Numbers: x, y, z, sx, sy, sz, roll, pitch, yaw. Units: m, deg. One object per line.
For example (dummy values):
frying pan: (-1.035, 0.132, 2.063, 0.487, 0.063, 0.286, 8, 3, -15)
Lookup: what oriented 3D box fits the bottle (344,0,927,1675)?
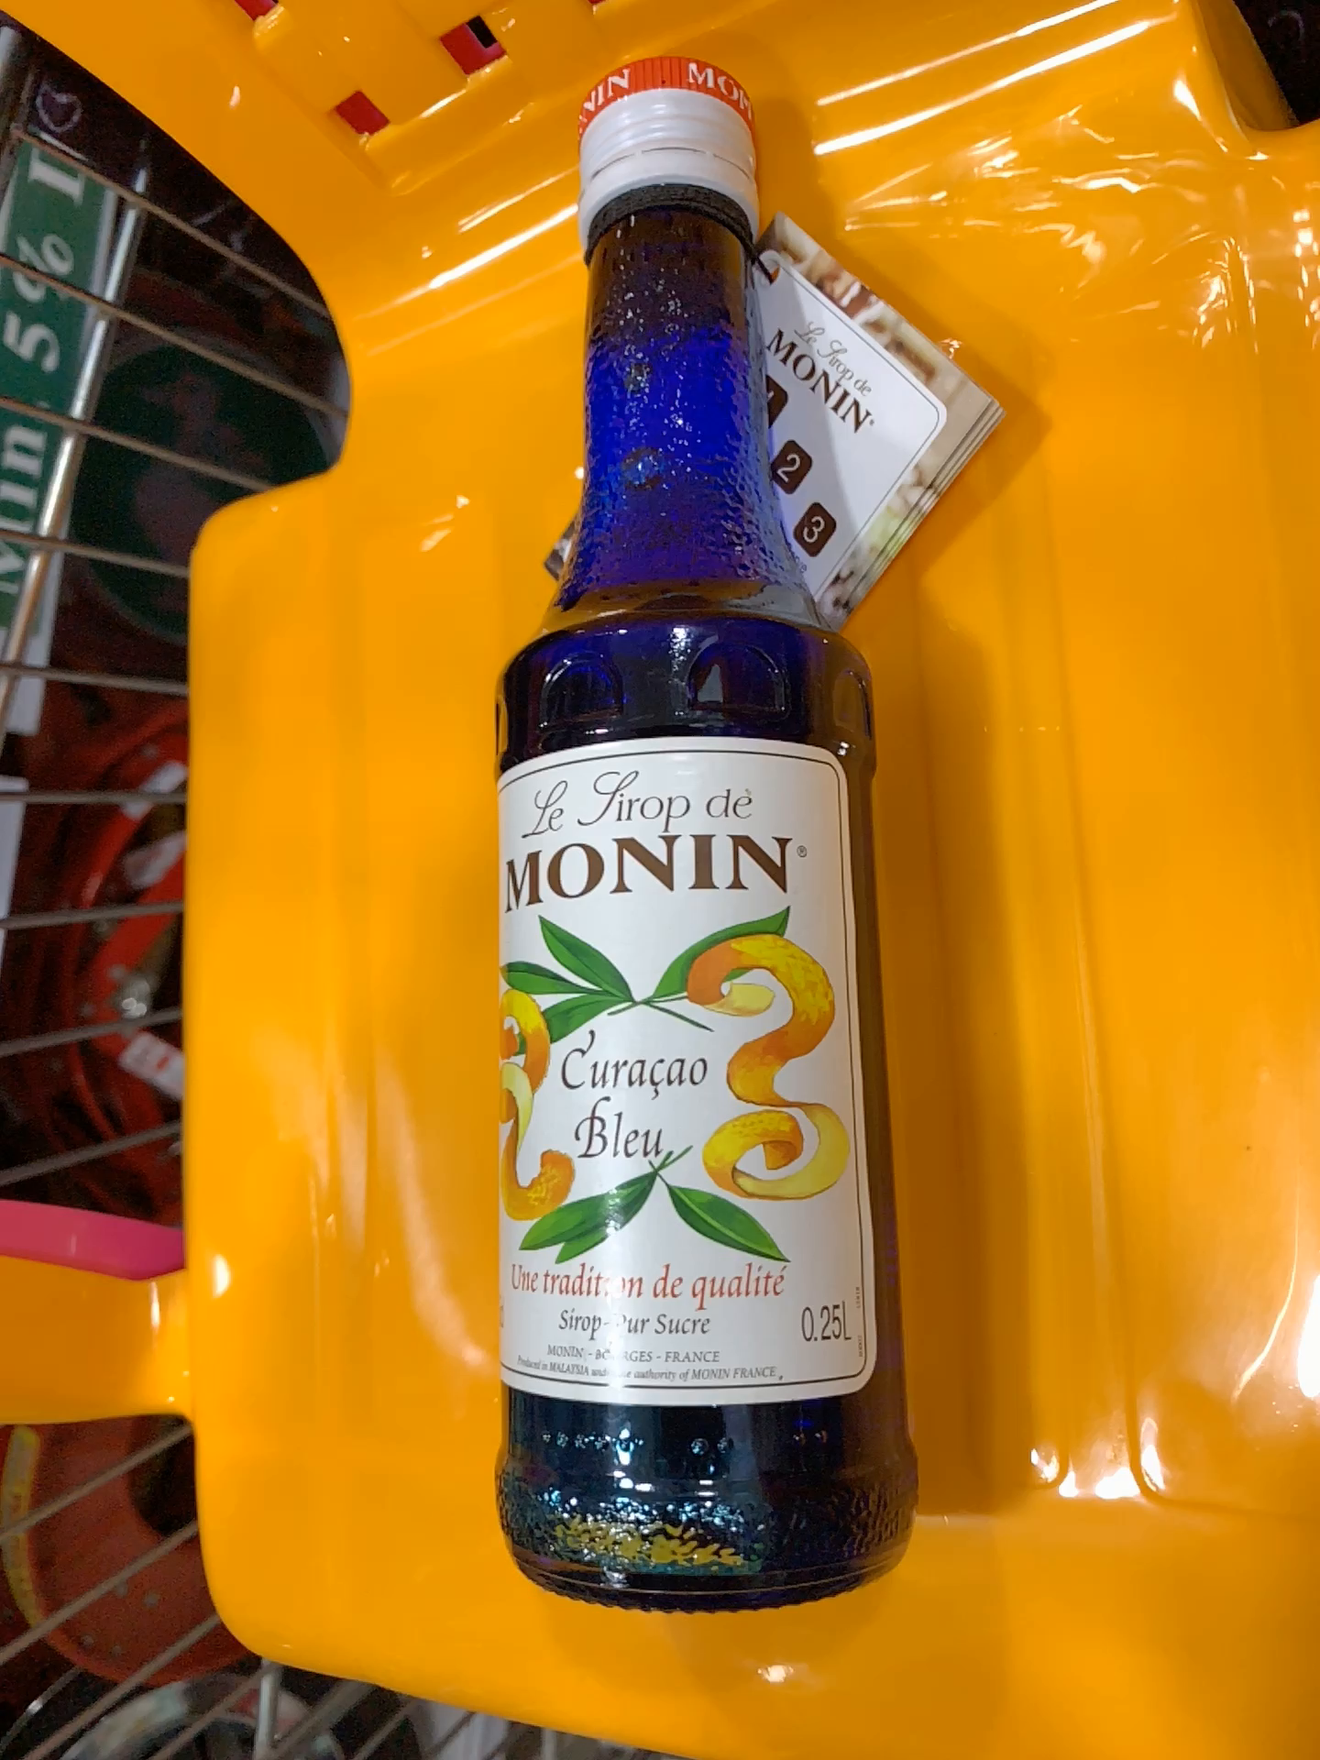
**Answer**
bottle: (-0.003, -0.019, 0.196, 0.060, 0.050, 0.220, -5, 80, 23)
